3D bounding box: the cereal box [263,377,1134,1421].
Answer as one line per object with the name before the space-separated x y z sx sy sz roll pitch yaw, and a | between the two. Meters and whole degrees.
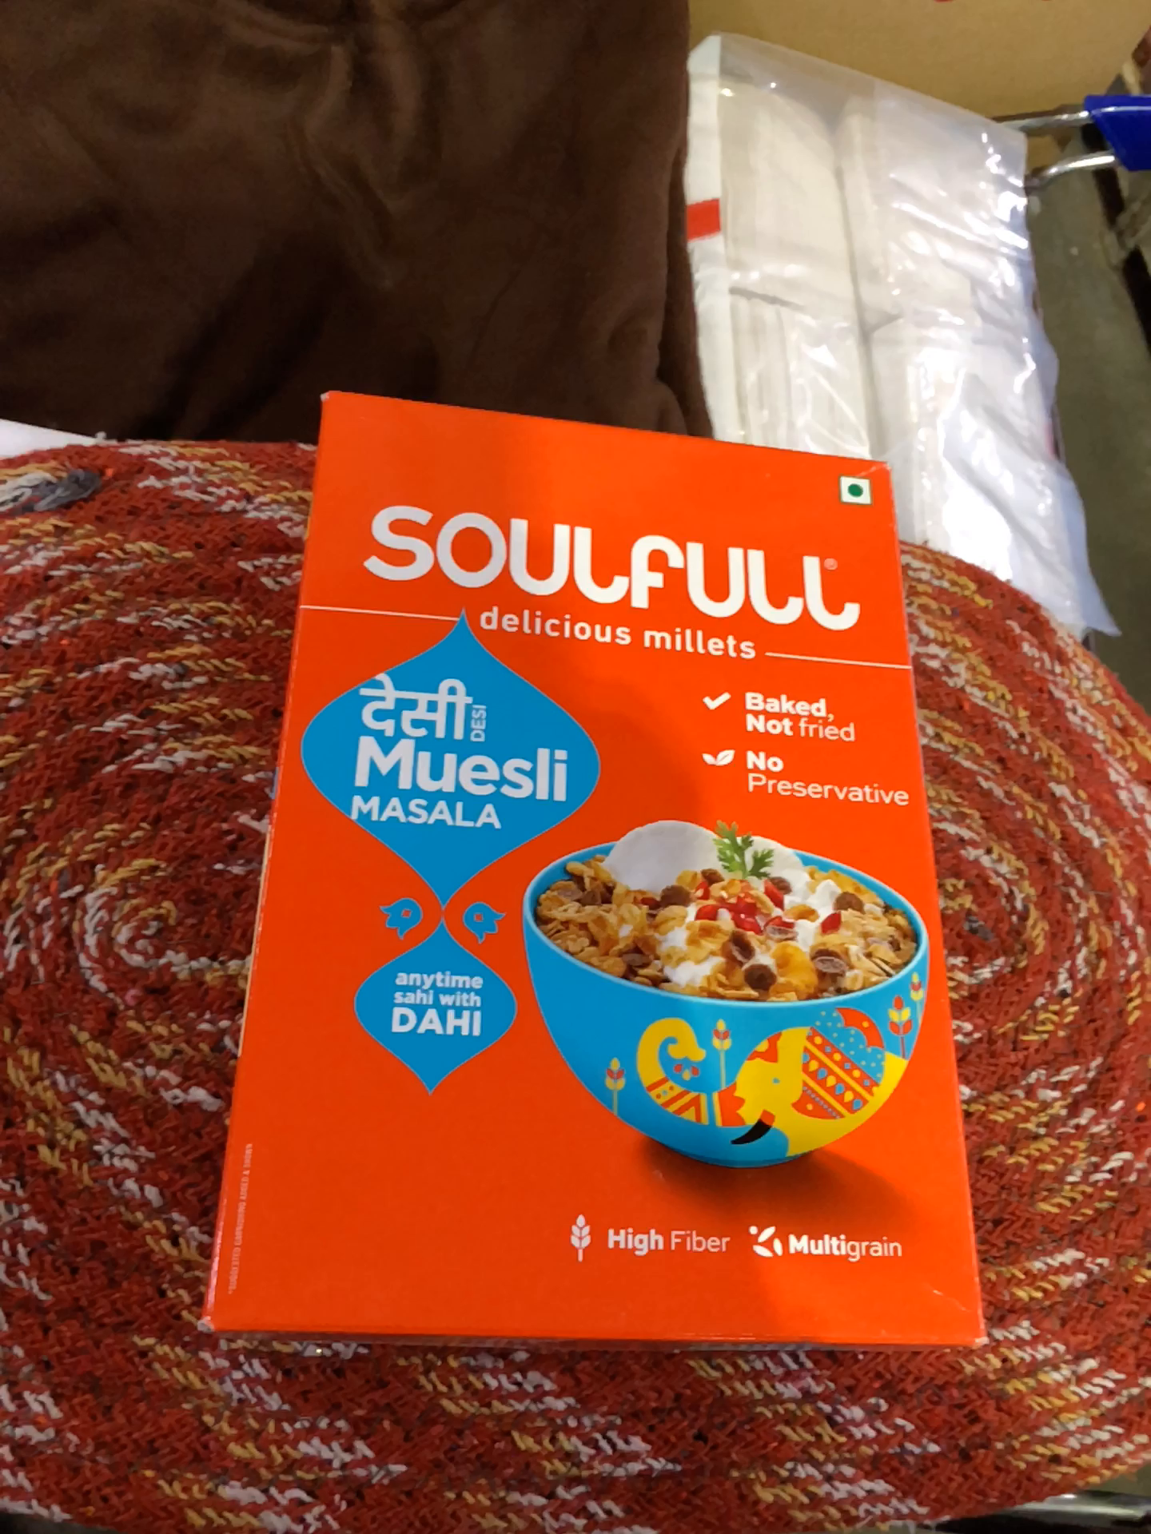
cereal box | 0.024 0.026 0.341 0.180 0.060 0.261 4 64 -8
